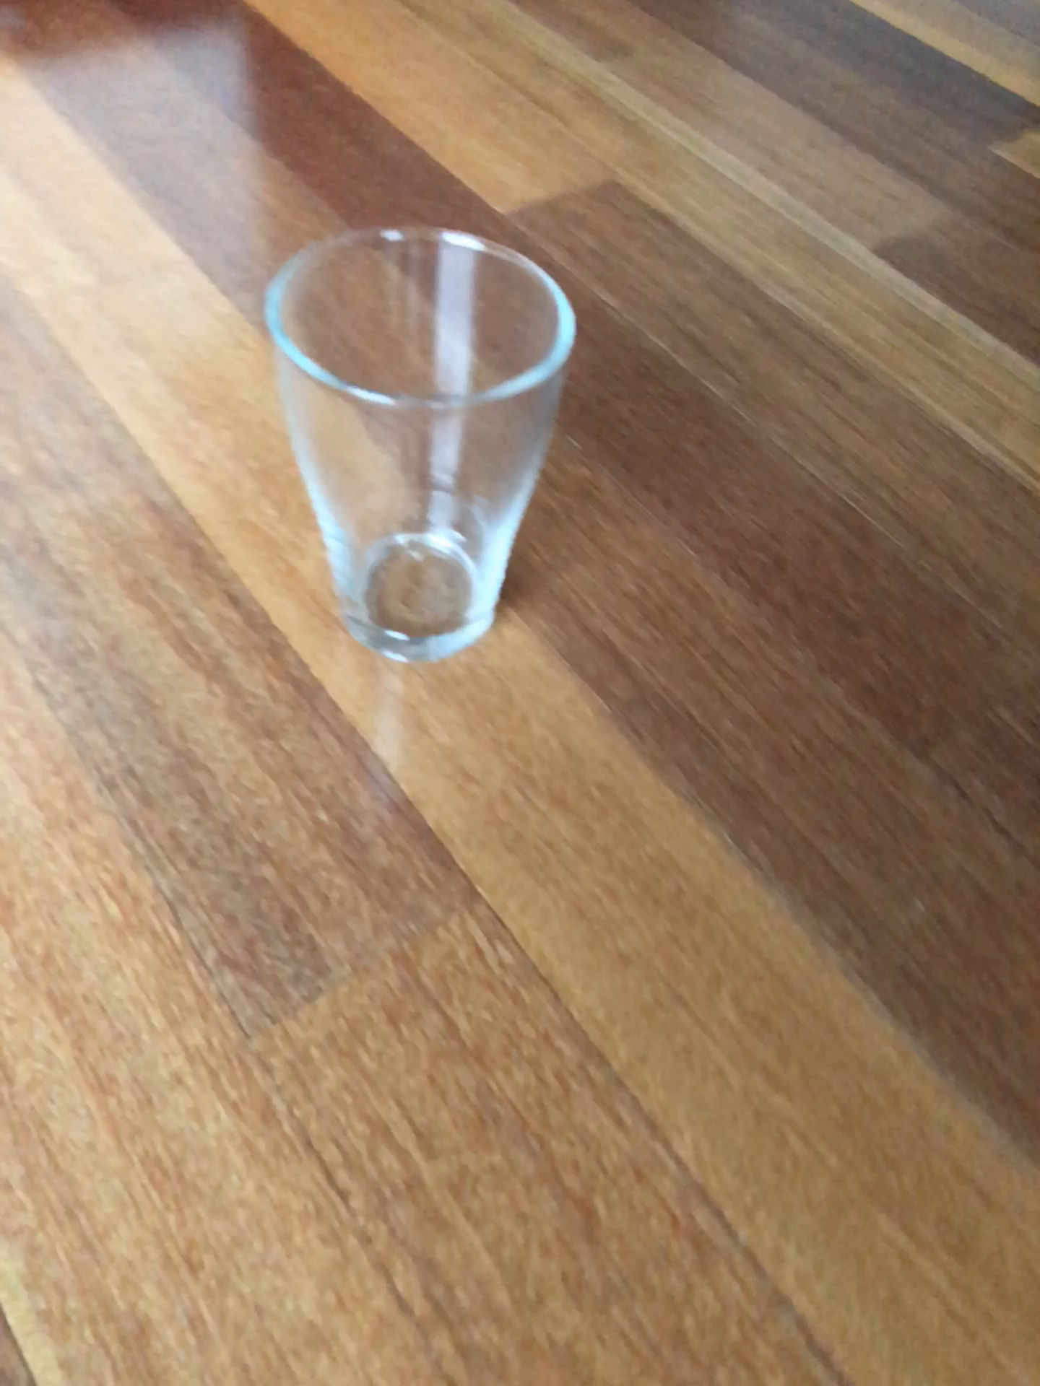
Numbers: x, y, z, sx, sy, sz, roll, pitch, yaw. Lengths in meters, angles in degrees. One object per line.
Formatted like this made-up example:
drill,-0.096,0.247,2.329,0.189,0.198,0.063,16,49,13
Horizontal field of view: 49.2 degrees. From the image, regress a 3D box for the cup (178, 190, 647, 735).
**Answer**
cup,-0.033,-0.071,0.353,0.090,0.109,0.090,3,52,-4
